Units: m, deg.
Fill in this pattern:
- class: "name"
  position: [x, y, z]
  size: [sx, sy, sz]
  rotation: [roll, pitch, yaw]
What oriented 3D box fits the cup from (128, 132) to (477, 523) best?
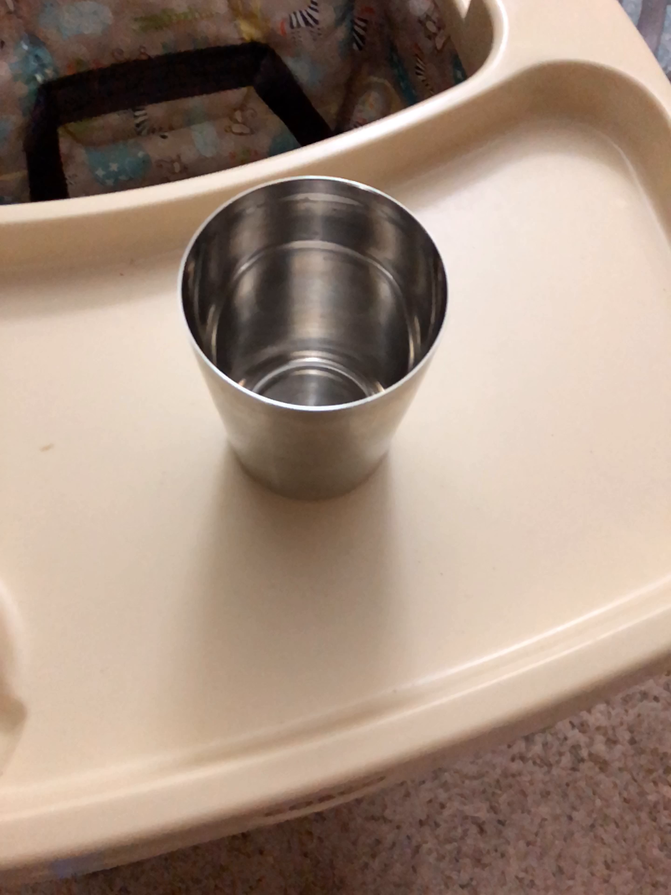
- class: "cup"
  position: [-0.012, -0.031, 0.233]
  size: [0.073, 0.091, 0.072]
  rotation: [1, 71, -2]
